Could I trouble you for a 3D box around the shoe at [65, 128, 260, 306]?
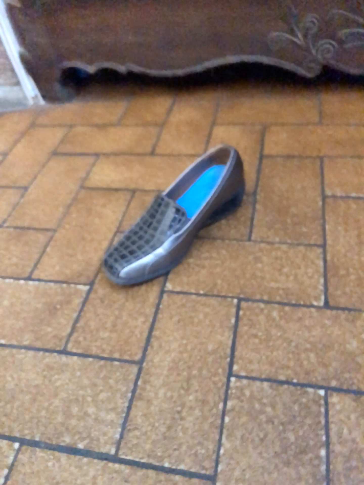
[{"bbox_3d":[-0.012,-0.045,0.558,0.261,0.090,0.090,-38,52,-24],"label":"shoe"}]
